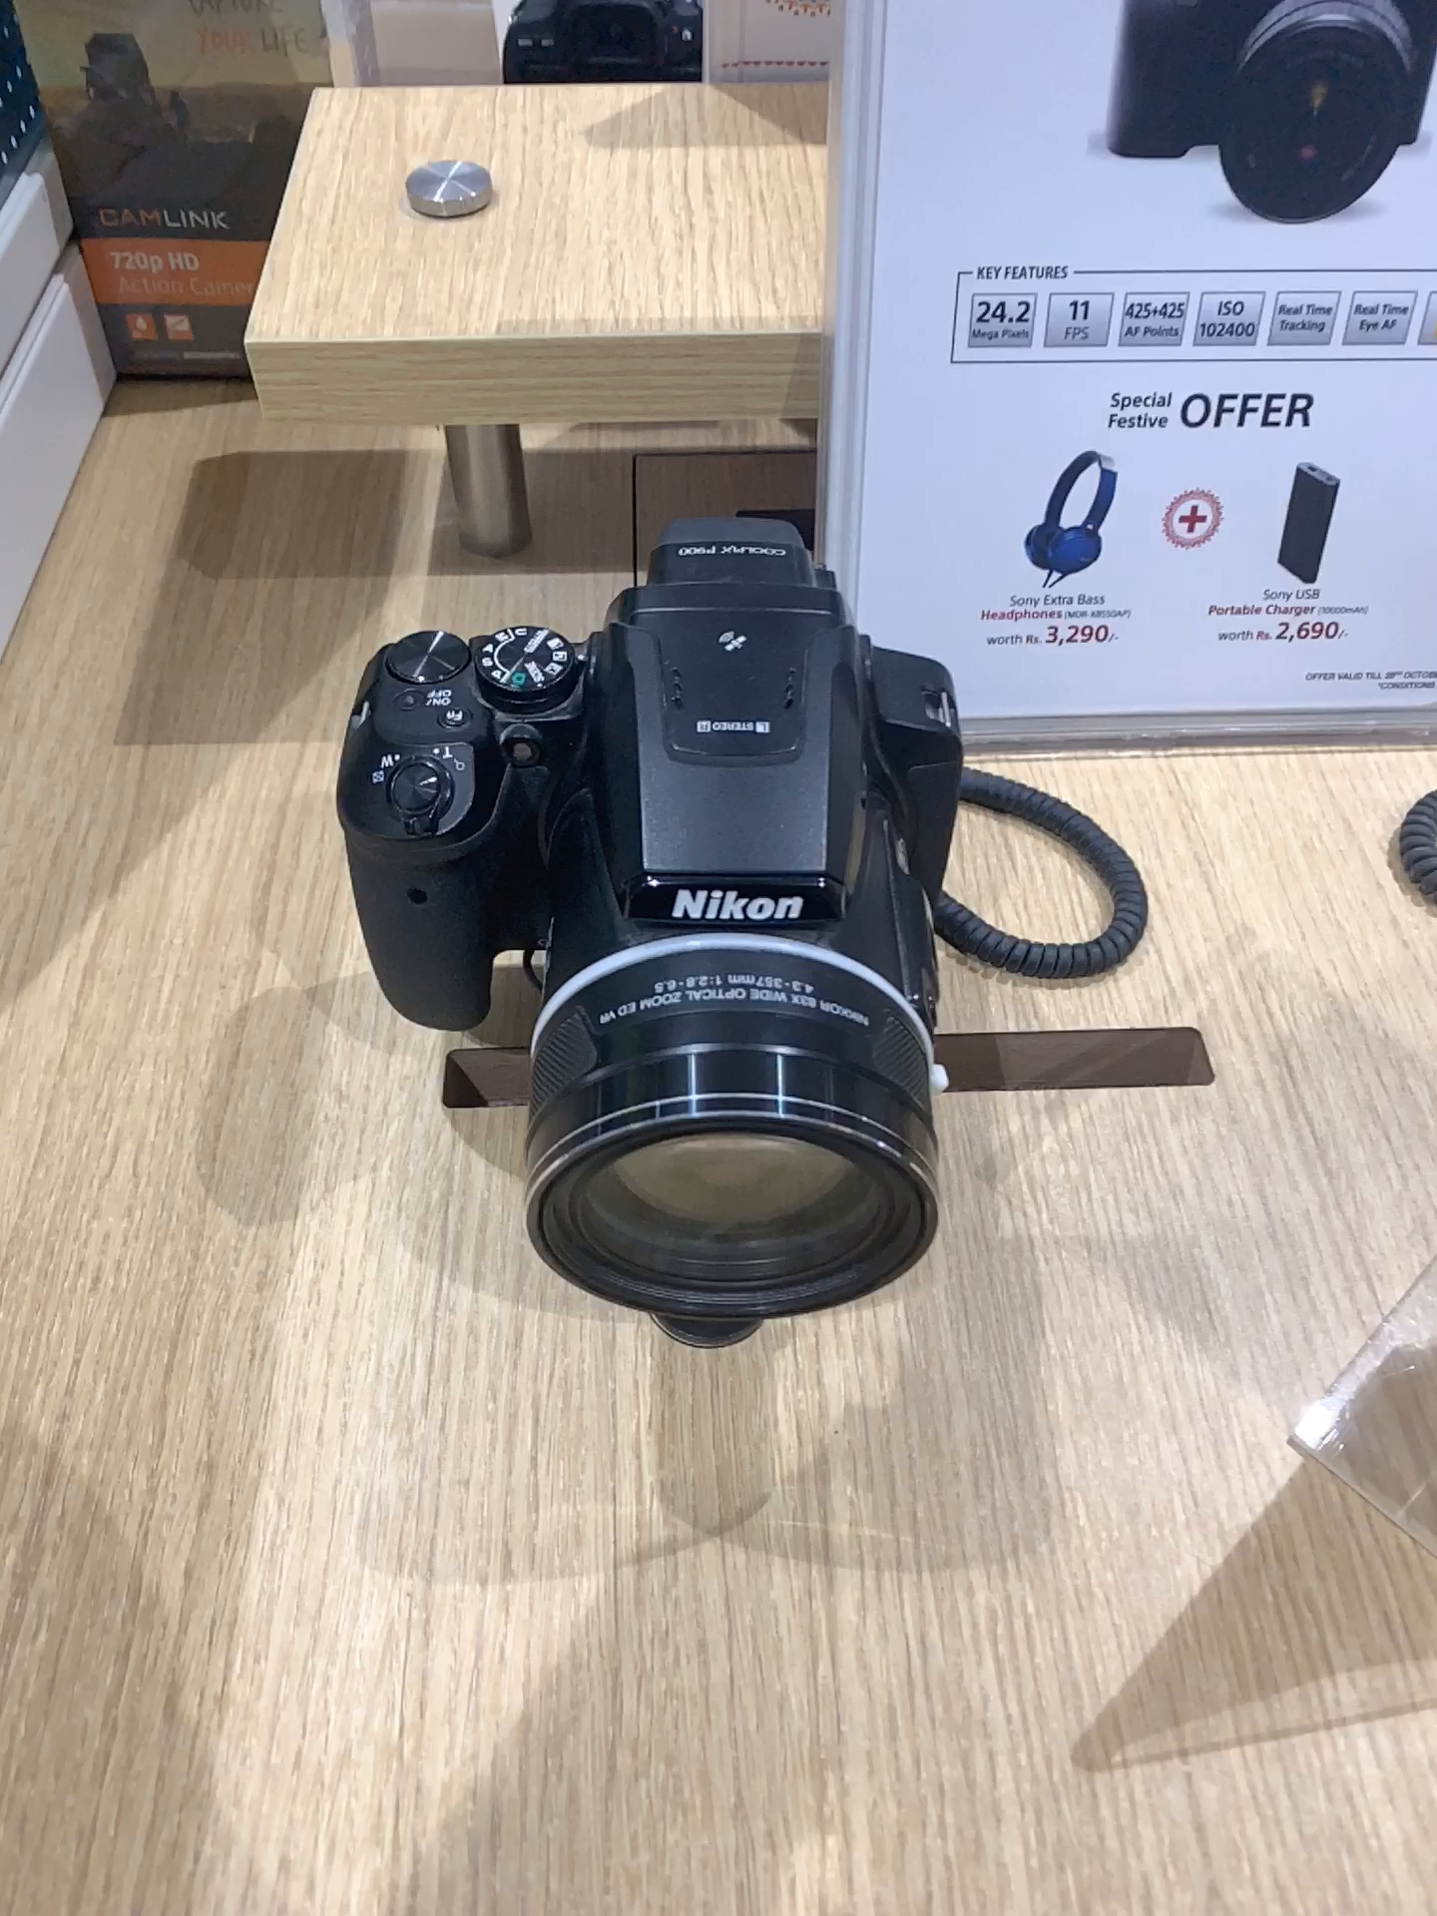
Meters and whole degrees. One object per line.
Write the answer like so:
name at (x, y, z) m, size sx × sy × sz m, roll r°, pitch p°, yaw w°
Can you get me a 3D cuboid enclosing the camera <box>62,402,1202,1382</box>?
camera at (-0.013, -0.017, 0.264) m, size 0.140 × 0.090 × 0.150 m, roll -1°, pitch 51°, yaw -2°
